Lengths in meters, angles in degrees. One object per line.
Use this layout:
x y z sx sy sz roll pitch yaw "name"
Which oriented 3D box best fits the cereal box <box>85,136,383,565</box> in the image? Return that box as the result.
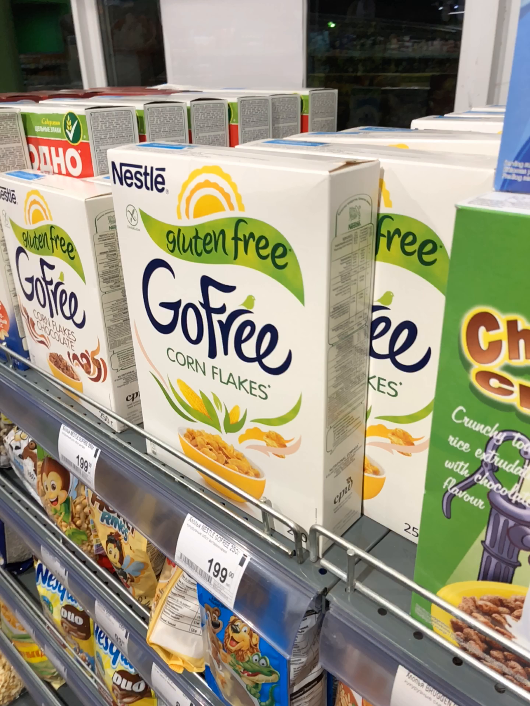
-0.025 -0.011 0.401 0.191 0.249 0.060 19 32 37 "cereal box"
